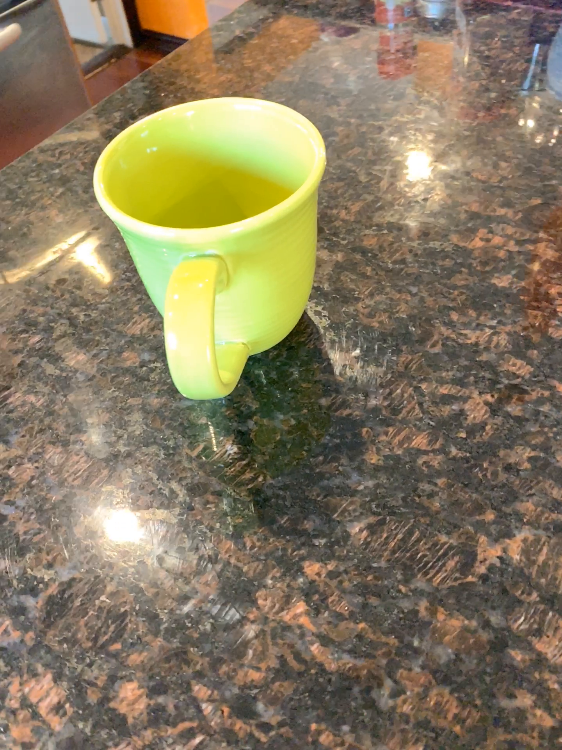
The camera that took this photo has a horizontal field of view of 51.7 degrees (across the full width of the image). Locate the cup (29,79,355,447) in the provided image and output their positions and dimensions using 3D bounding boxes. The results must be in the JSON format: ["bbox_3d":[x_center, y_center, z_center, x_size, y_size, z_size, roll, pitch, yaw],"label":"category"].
[{"bbox_3d":[-0.030,-0.056,0.271,0.110,0.080,0.151,-4,52,3],"label":"cup"}]
